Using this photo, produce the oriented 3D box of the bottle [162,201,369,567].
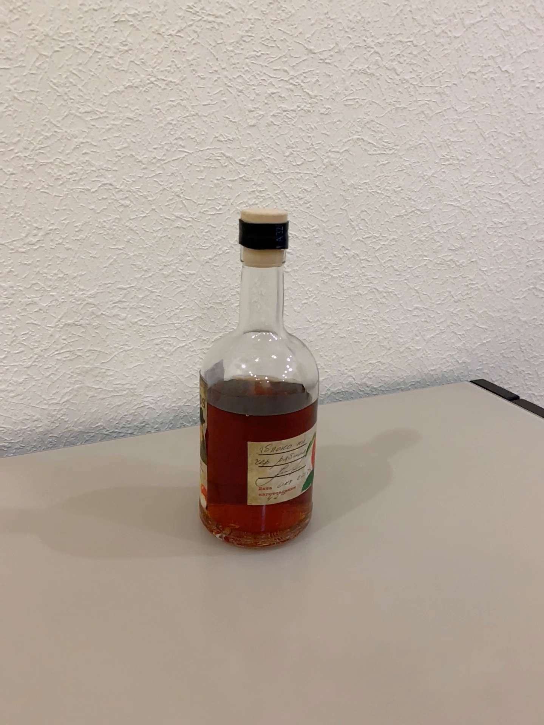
[{"bbox_3d":[-0.006,0.006,0.356,0.080,0.201,0.090,17,24,38],"label":"bottle"}]
